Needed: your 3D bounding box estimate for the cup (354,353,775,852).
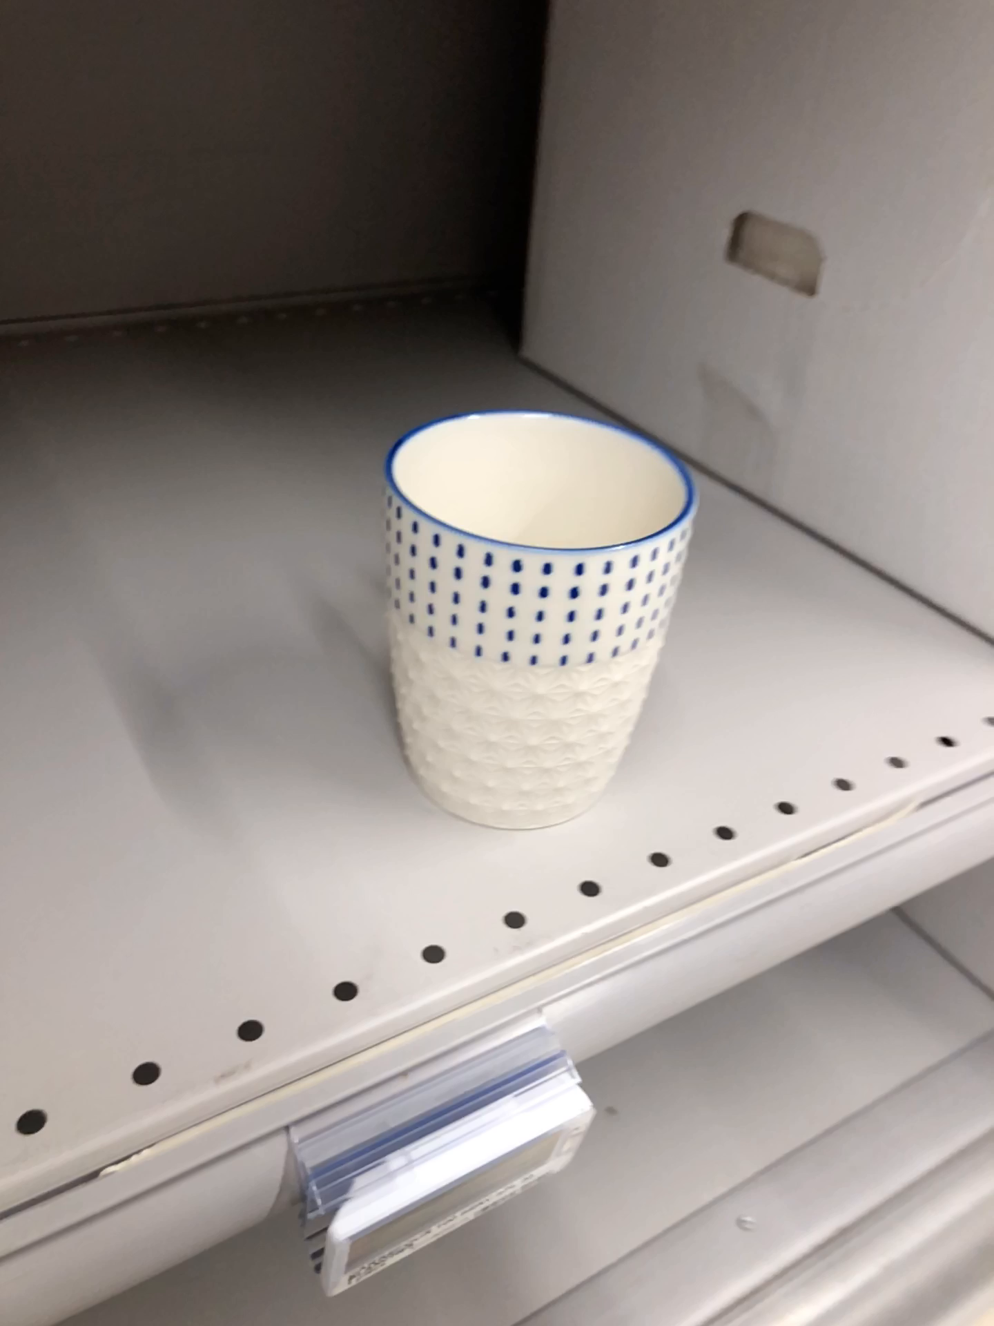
[{"bbox_3d":[0.007,-0.023,0.330,0.096,0.096,0.120,-1,36,-9],"label":"cup"}]
